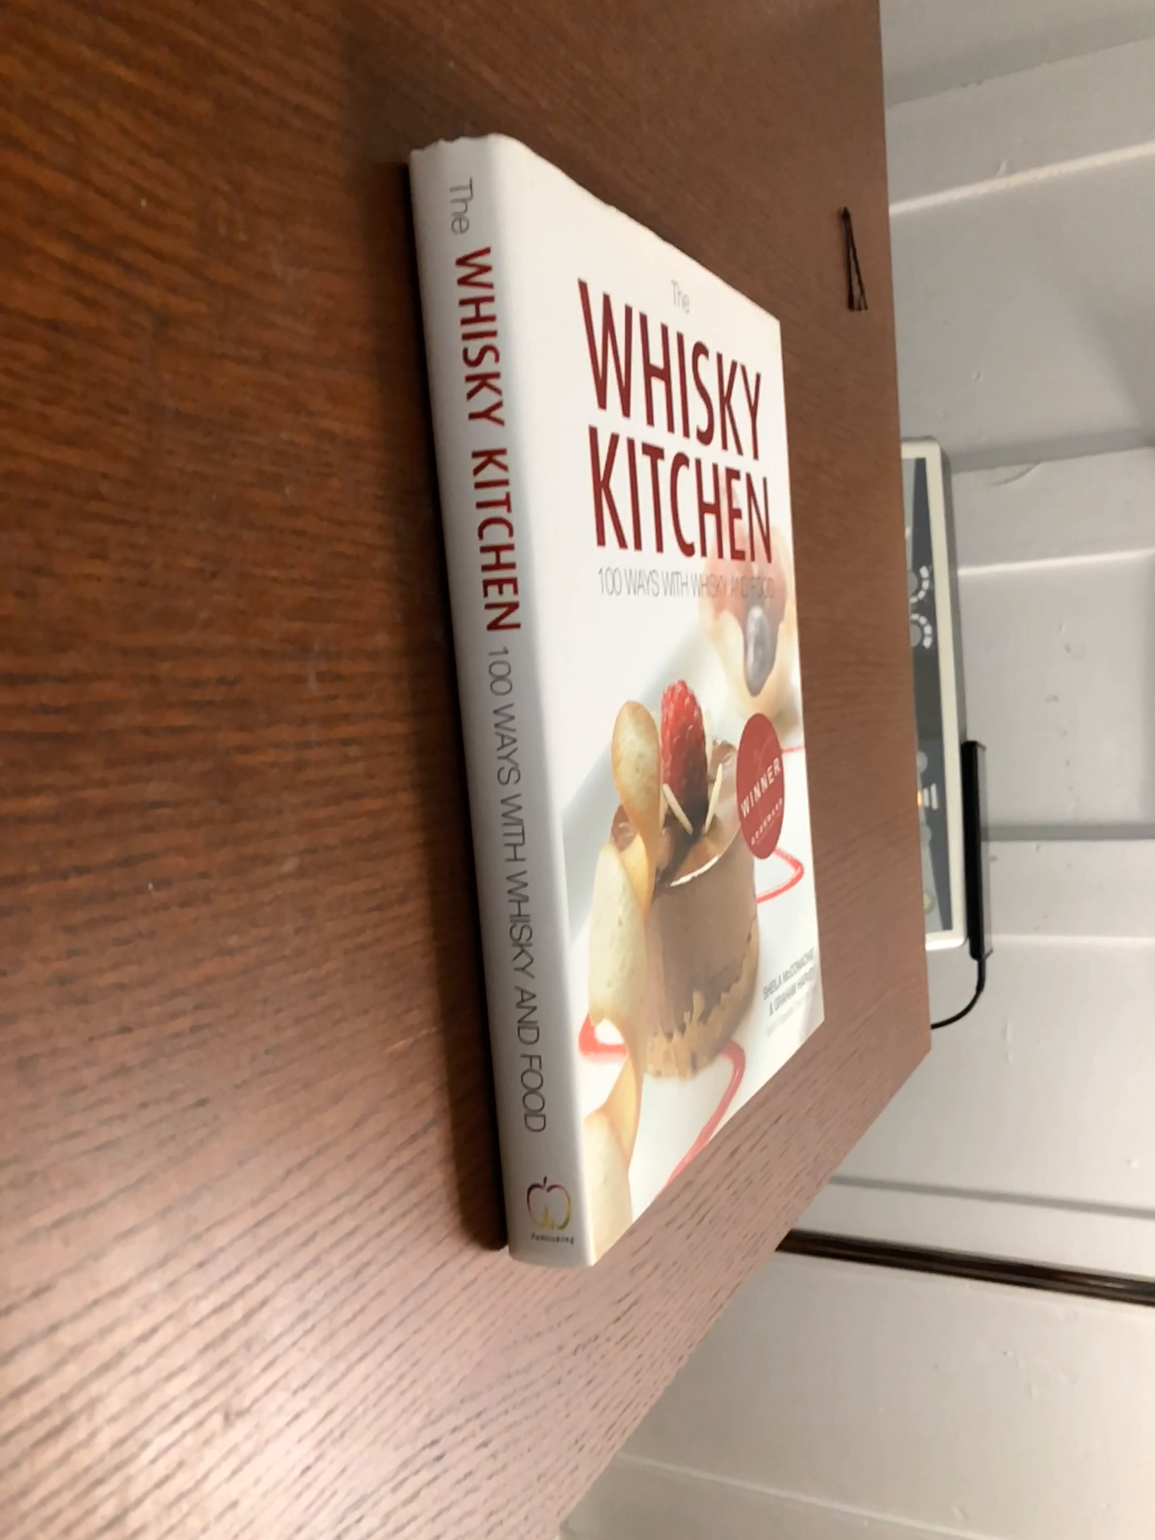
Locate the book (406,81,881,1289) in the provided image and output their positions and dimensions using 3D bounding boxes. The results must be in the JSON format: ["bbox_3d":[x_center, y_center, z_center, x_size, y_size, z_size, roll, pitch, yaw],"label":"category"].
[{"bbox_3d":[0.039,-0.025,0.392,0.221,0.040,0.270,-14,101,-63],"label":"book"}]
